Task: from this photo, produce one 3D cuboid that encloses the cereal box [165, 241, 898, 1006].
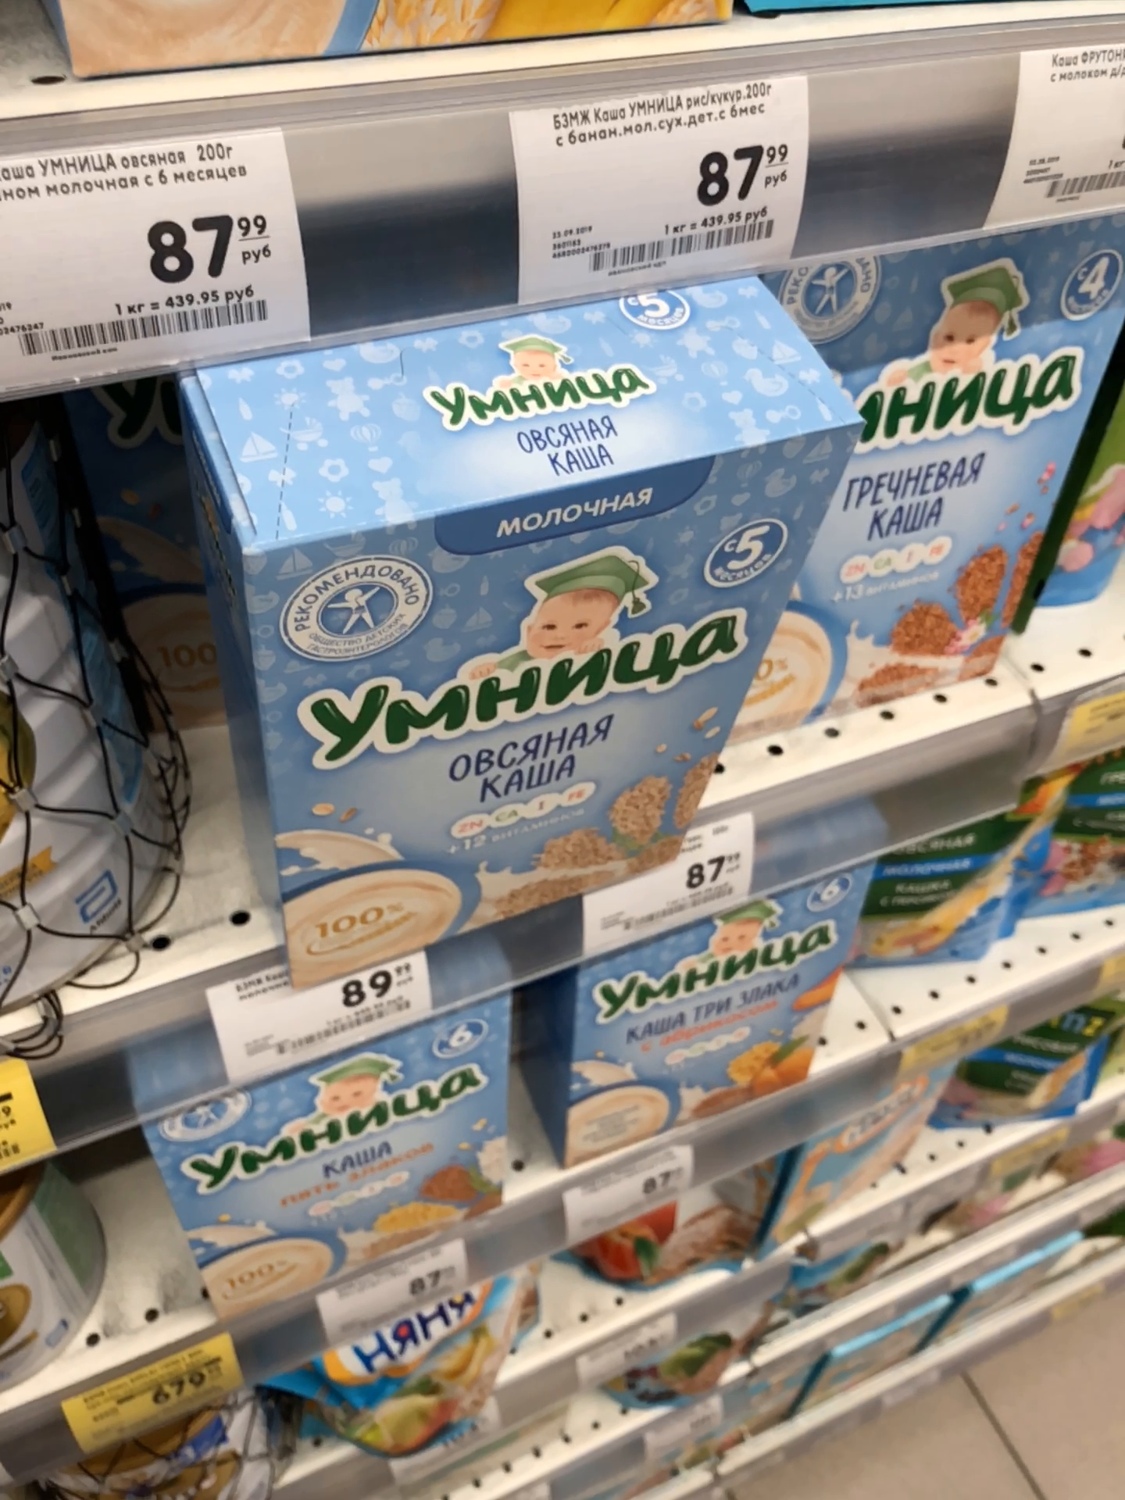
[{"bbox_3d":[-0.018,-0.020,0.344,0.140,0.209,0.060,-15,60,-19],"label":"cereal box"}]
